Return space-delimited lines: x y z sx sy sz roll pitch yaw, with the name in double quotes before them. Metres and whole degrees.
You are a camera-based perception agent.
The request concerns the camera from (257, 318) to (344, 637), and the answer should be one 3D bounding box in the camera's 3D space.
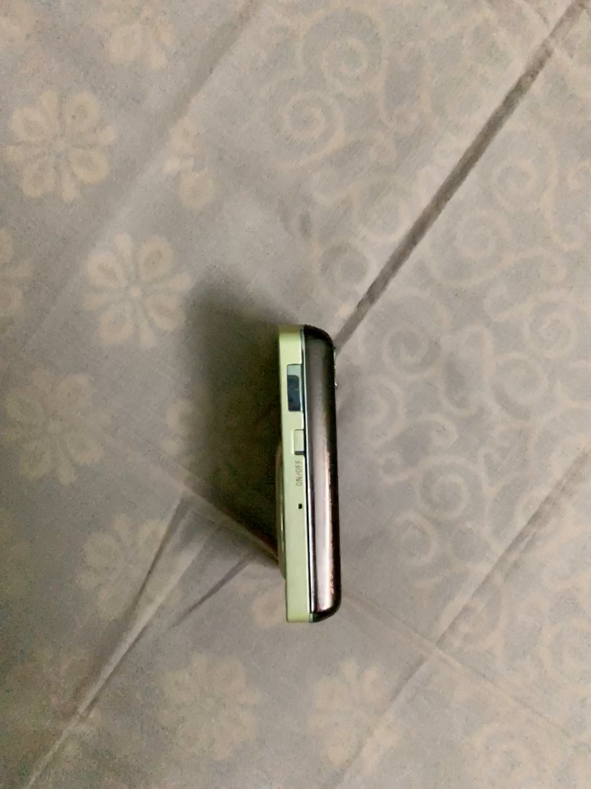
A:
"camera" 0.000 0.023 0.200 0.021 0.060 0.088 -2 91 -2
